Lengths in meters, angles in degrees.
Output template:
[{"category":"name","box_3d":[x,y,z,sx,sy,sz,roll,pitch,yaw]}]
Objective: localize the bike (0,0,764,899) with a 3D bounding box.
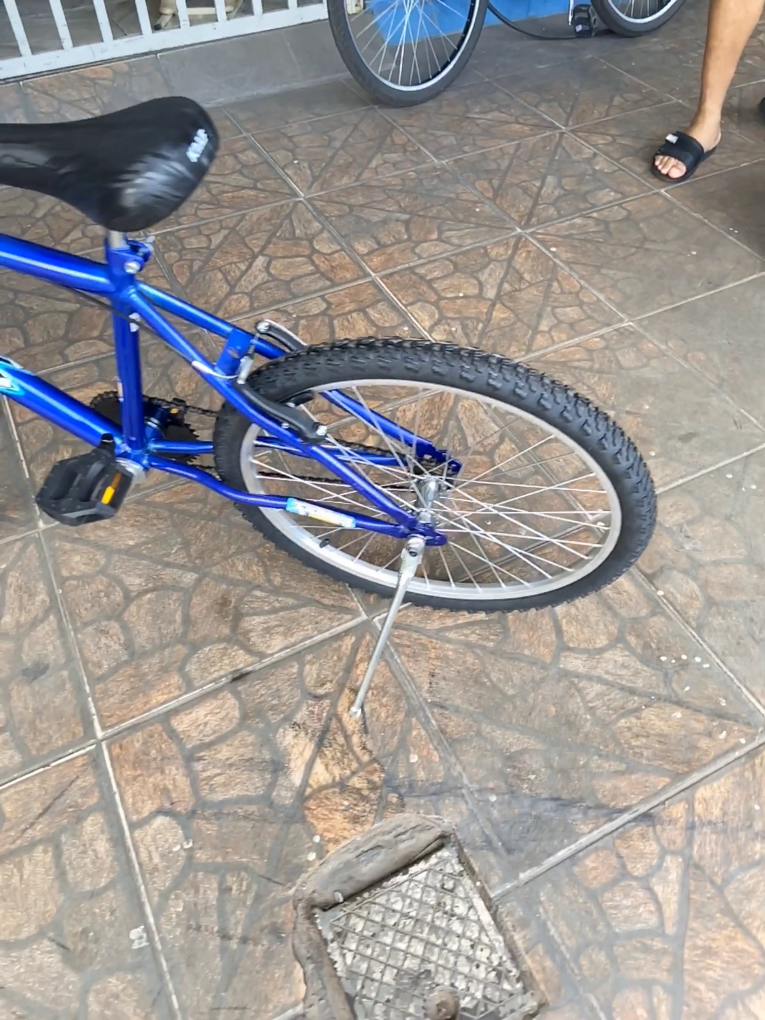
[{"category":"bike","box_3d":[-0.388,-0.239,0.981,1.487,0.923,0.626,12,48,10]}]
